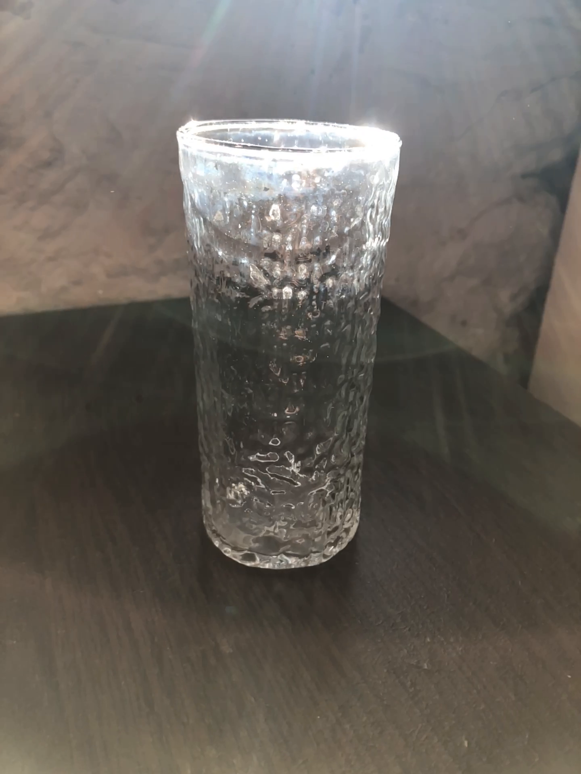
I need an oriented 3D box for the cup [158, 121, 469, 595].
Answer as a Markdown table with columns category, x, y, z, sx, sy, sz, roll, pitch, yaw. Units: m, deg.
| category | x | y | z | sx | sy | sz | roll | pitch | yaw |
| --- | --- | --- | --- | --- | --- | --- | --- | --- | --- |
| cup | 0.000 | -0.013 | 0.211 | 0.070 | 0.130 | 0.068 | 2 | 26 | -1 |
